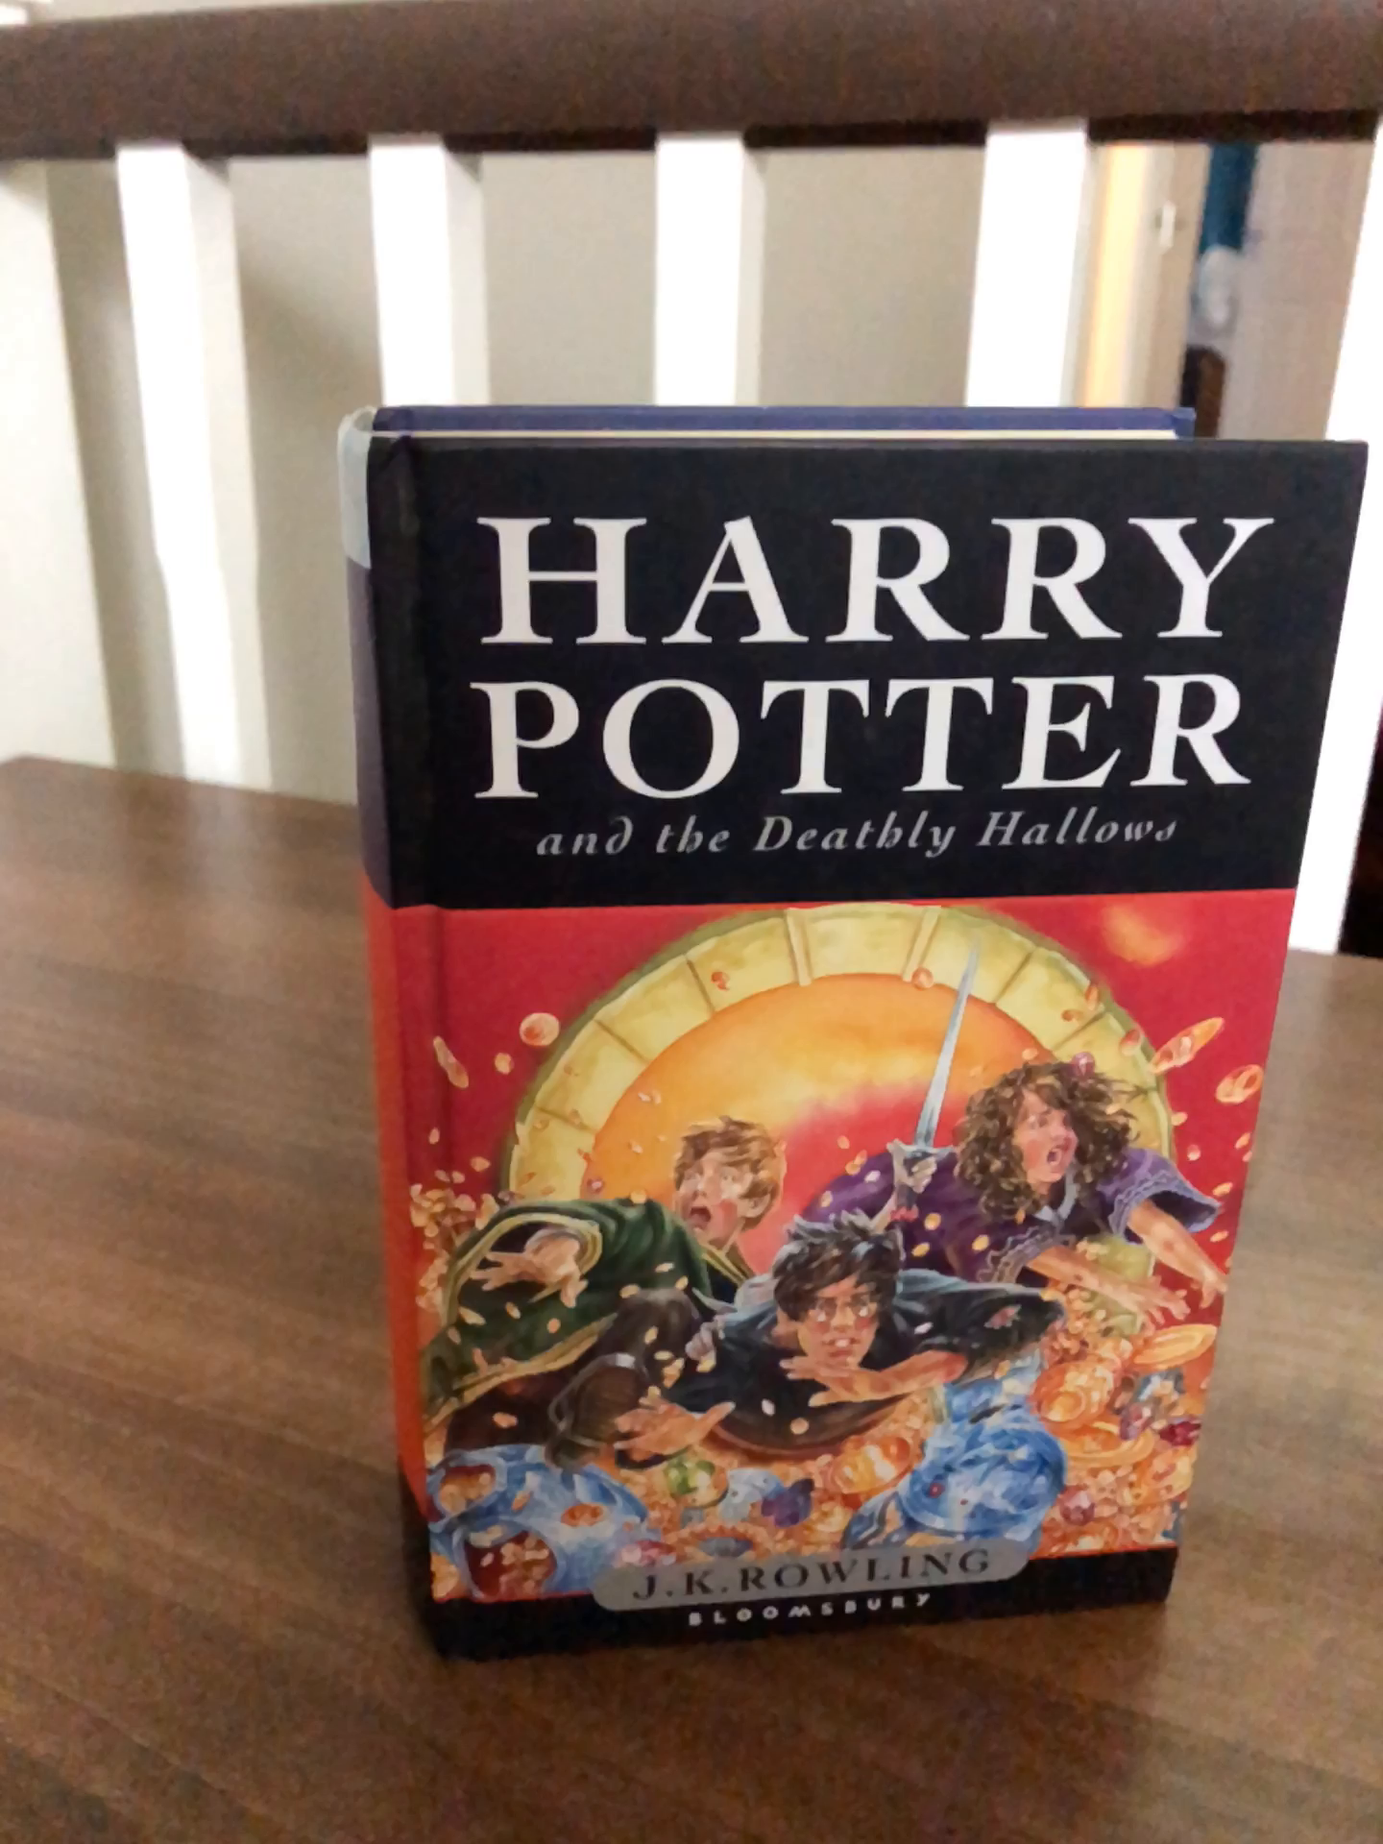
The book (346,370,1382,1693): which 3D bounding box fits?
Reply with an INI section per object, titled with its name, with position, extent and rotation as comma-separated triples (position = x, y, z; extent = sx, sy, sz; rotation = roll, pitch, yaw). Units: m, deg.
[book]
position = 0.022, 0.021, 0.259
extent = 0.140, 0.209, 0.060
rotation = -1, 21, -6
